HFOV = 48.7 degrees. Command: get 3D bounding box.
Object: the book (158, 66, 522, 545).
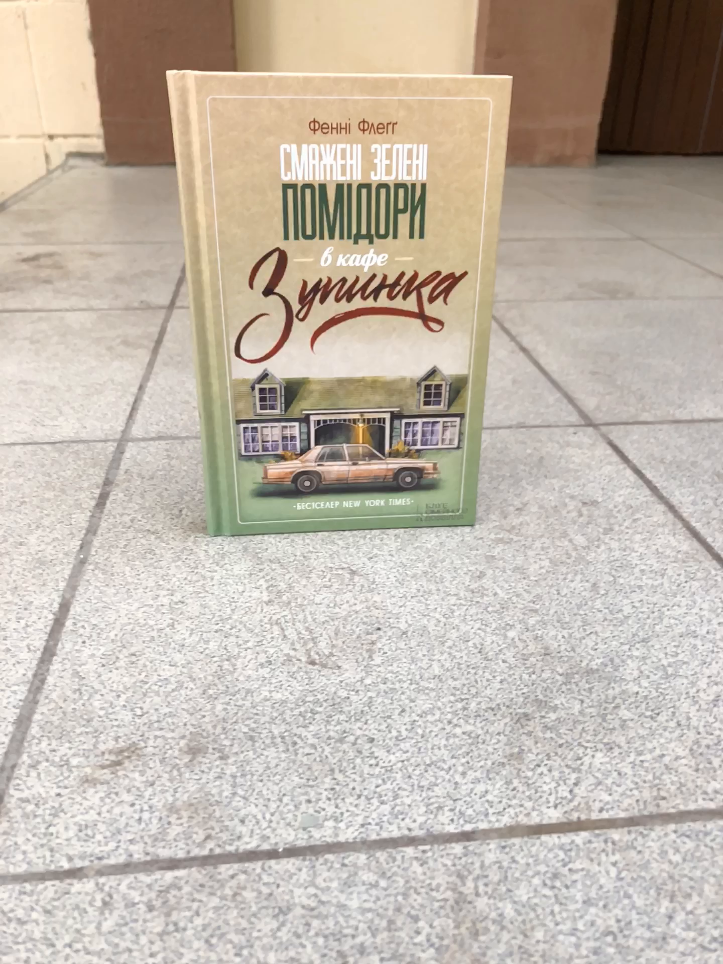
[{"bbox_3d":[-0.010,-0.072,0.366,0.140,0.209,0.030,-2,26,-6],"label":"book"}]
